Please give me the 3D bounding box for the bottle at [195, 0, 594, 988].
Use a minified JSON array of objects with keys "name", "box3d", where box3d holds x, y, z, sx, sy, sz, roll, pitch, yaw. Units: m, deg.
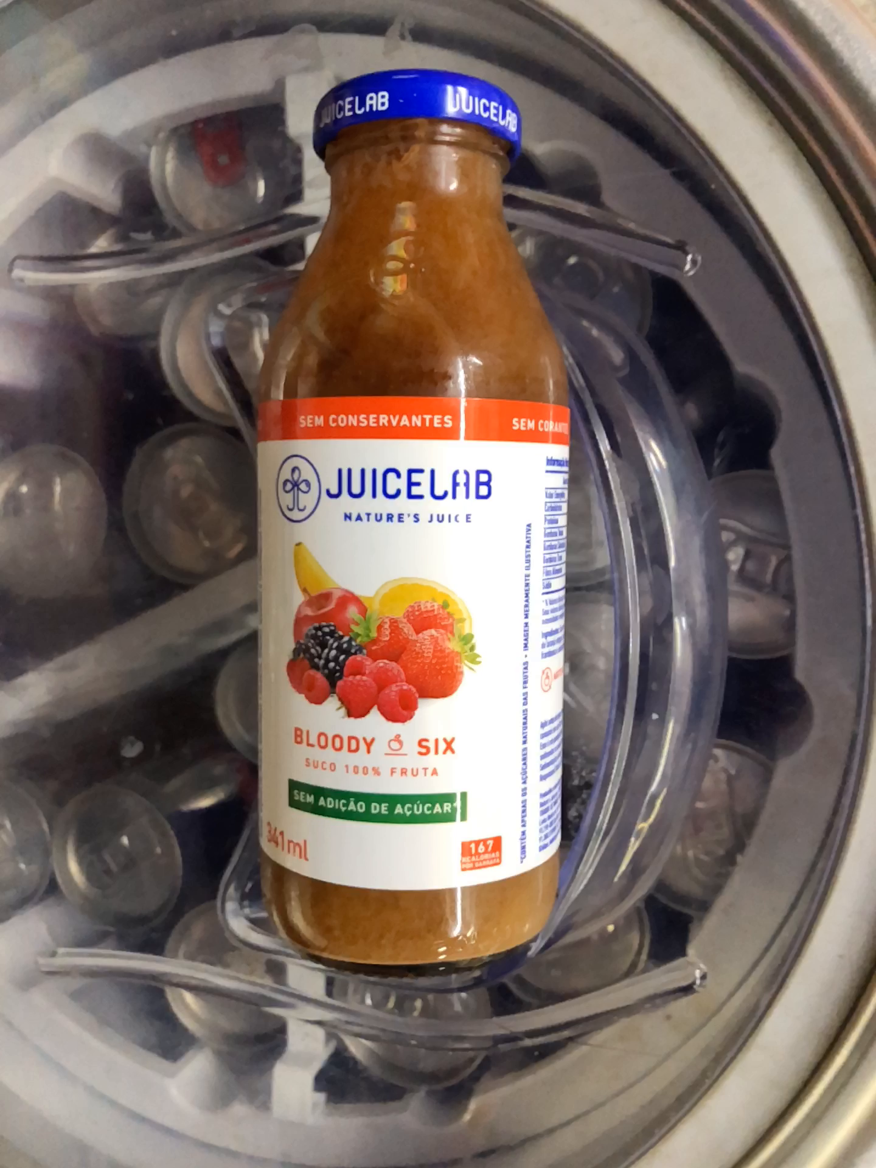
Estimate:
[{"name":"bottle","box3d":[-0.007,-0.024,0.207,0.070,0.060,0.190,1,93,6]}]
